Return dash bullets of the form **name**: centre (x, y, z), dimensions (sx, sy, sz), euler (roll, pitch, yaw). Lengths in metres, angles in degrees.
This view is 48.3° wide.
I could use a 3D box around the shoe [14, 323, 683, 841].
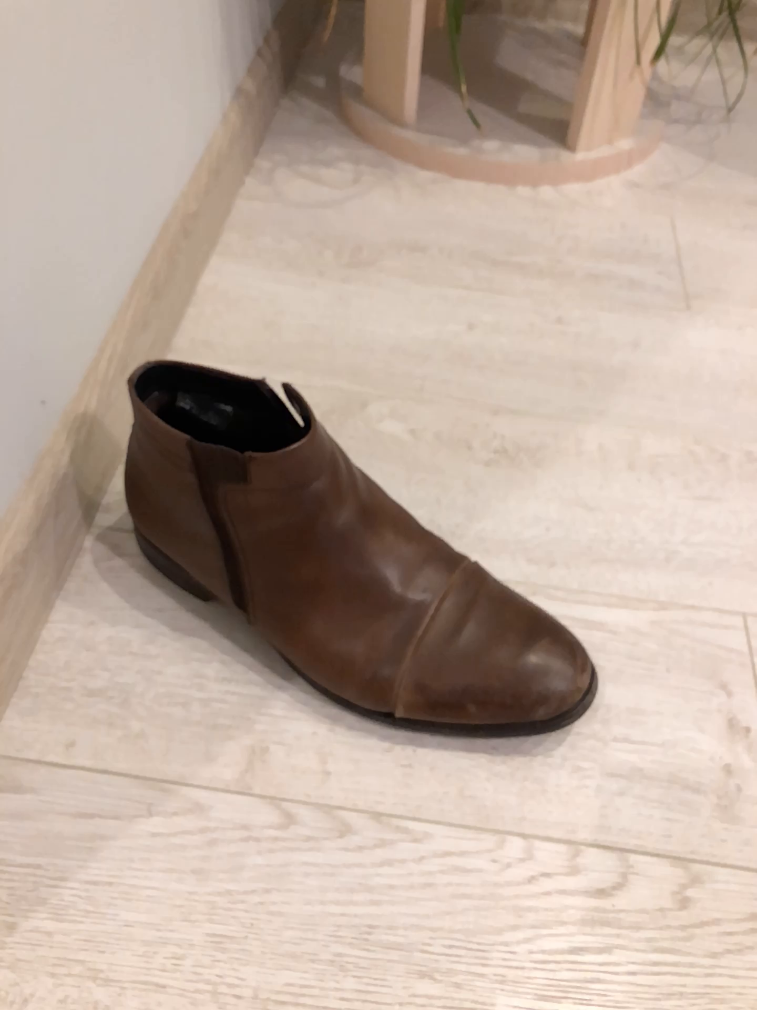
- **shoe**: centre (-0.021, 0.028, 0.454), dimensions (0.310, 0.109, 0.121), euler (24, 52, 18)
